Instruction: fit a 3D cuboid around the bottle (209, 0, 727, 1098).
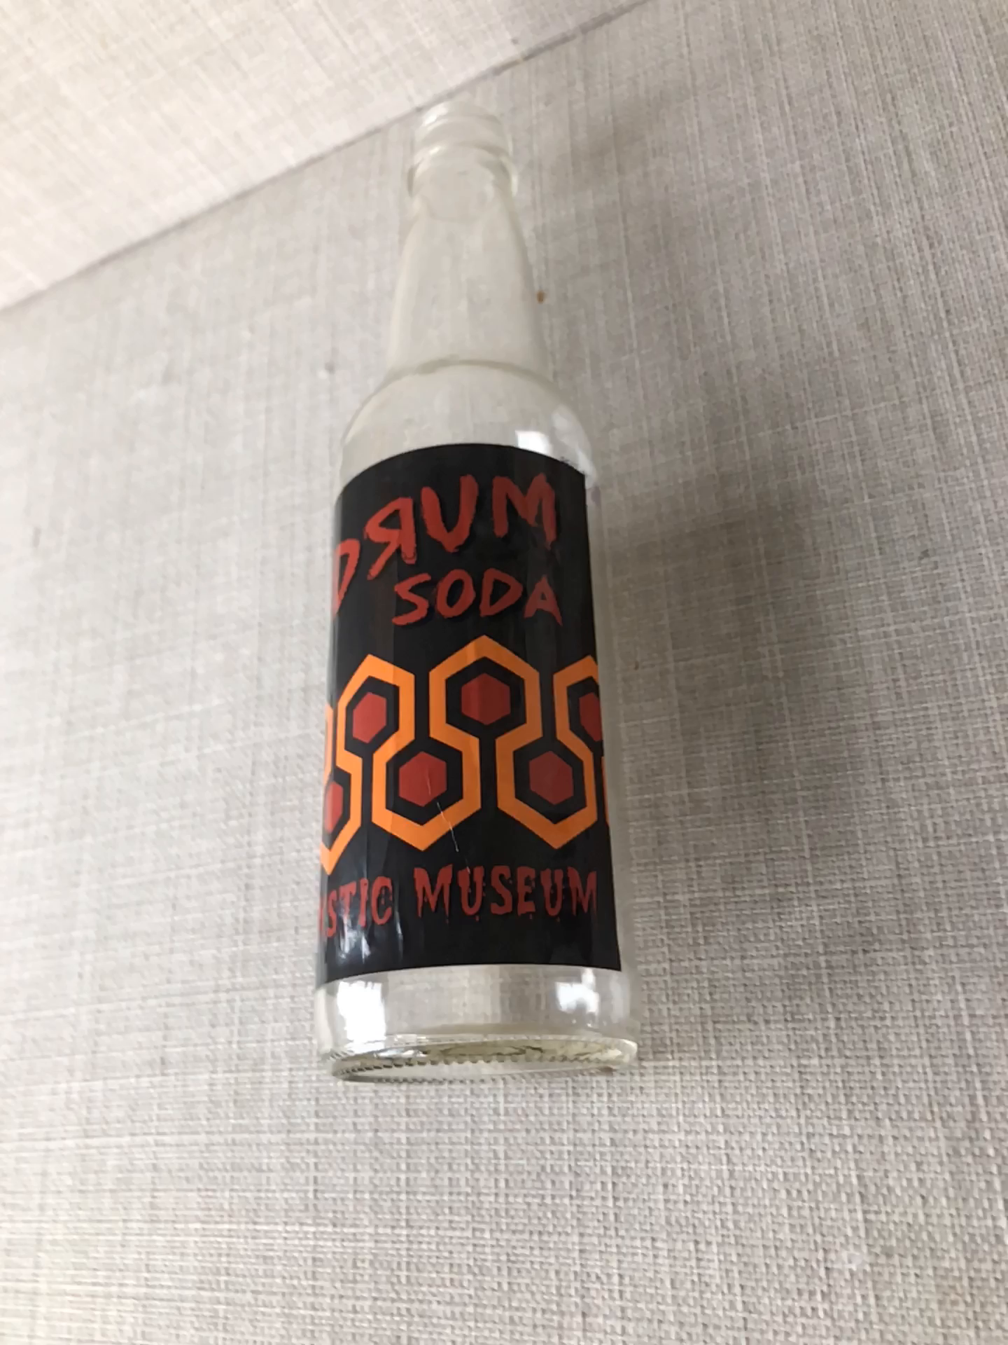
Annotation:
[{"bbox_3d":[-0.009,-0.035,0.240,0.063,0.070,0.231,-15,65,27],"label":"bottle"}]
